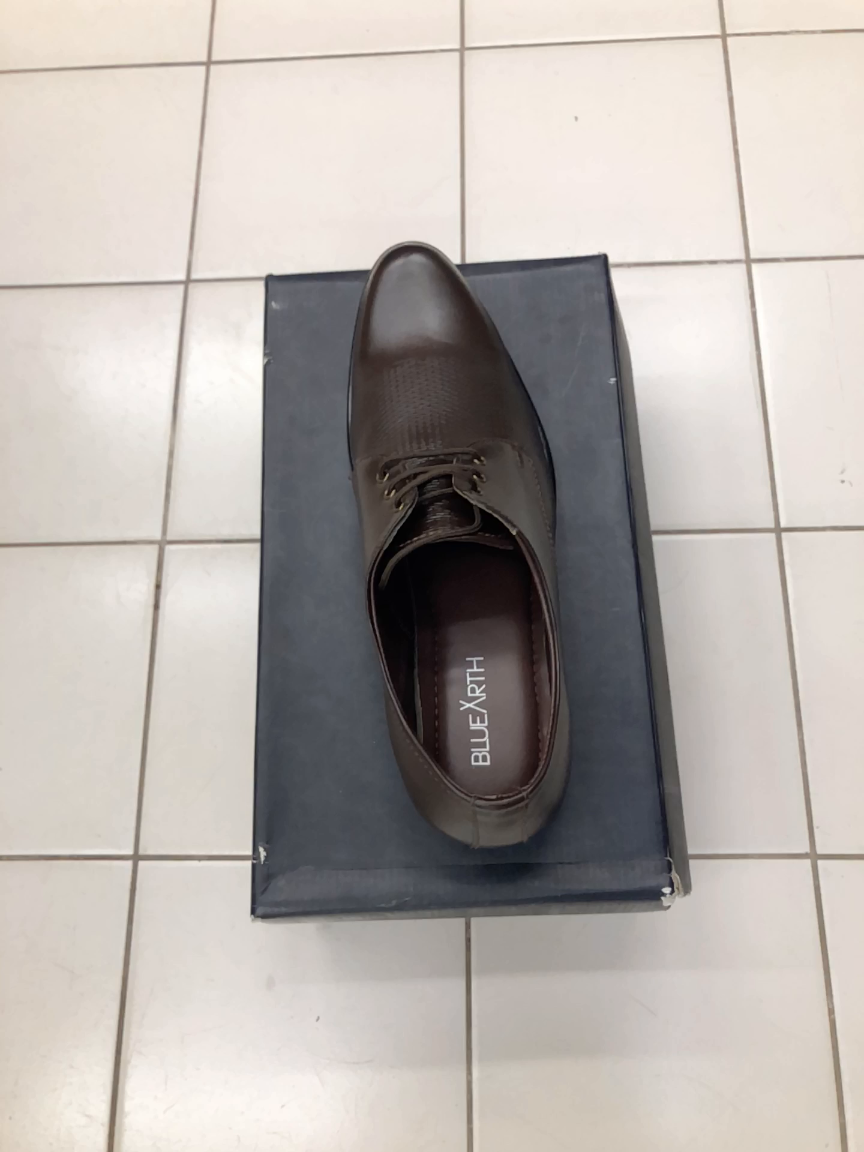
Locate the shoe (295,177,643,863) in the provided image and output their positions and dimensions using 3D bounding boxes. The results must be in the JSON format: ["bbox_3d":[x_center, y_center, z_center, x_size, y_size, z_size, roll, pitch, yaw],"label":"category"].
[{"bbox_3d":[0.011,-0.023,0.449,0.104,0.109,0.291,-8,73,1],"label":"shoe"}]
